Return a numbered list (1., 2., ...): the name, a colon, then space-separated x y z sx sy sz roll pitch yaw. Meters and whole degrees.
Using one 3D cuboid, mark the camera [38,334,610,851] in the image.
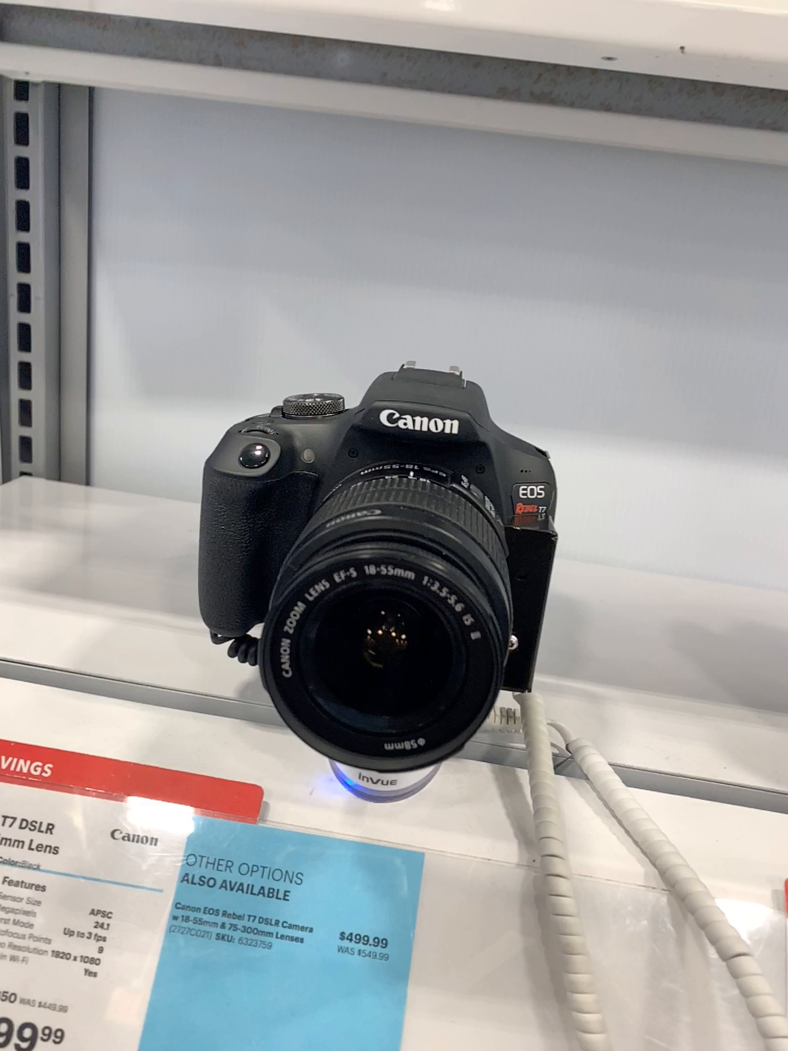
1. camera: -0.014 0.004 0.258 0.125 0.100 0.141 7 19 4
